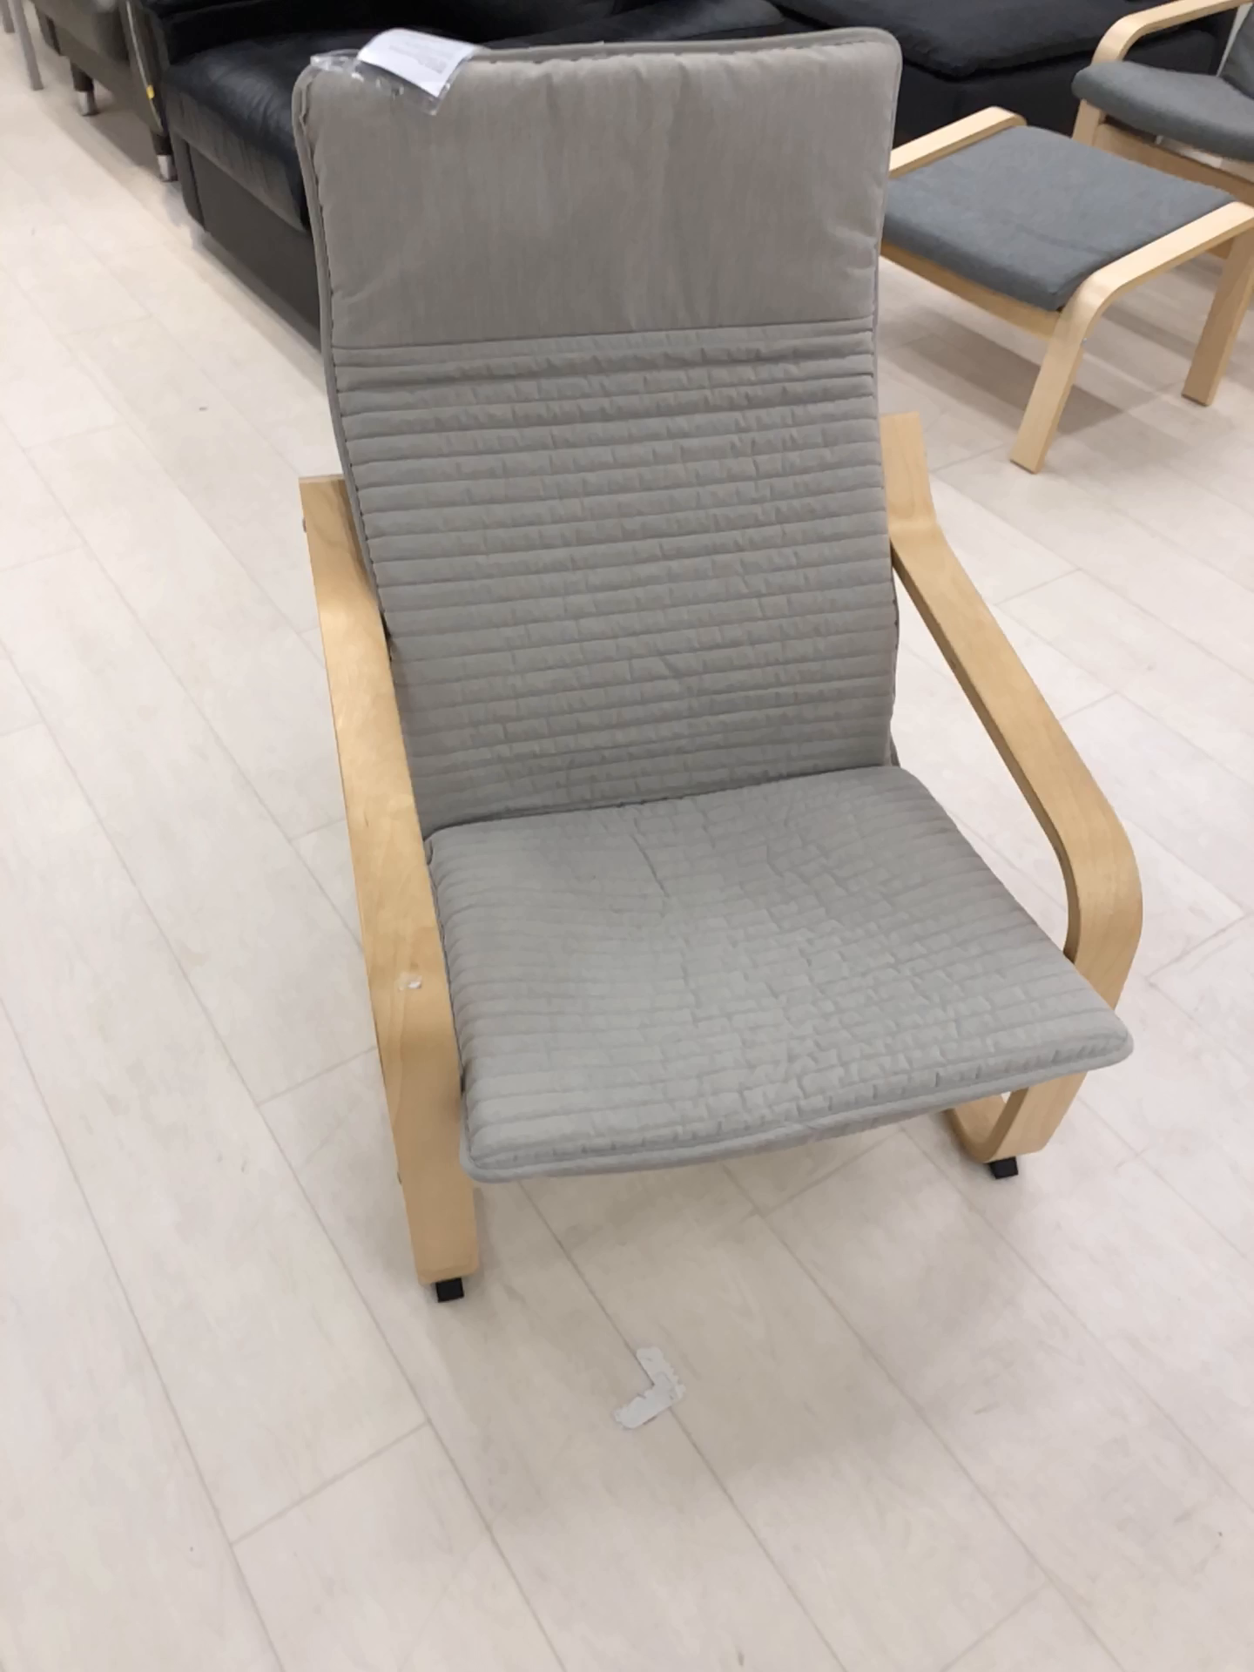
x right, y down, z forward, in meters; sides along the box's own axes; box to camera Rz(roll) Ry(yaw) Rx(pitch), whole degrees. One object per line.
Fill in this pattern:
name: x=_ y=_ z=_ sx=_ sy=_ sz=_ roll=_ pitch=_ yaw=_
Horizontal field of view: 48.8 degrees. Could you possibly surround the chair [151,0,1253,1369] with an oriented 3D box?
chair: x=0.074 y=-0.150 z=1.233 sx=0.730 sy=0.996 sz=0.702 roll=-7 pitch=45 yaw=-9
